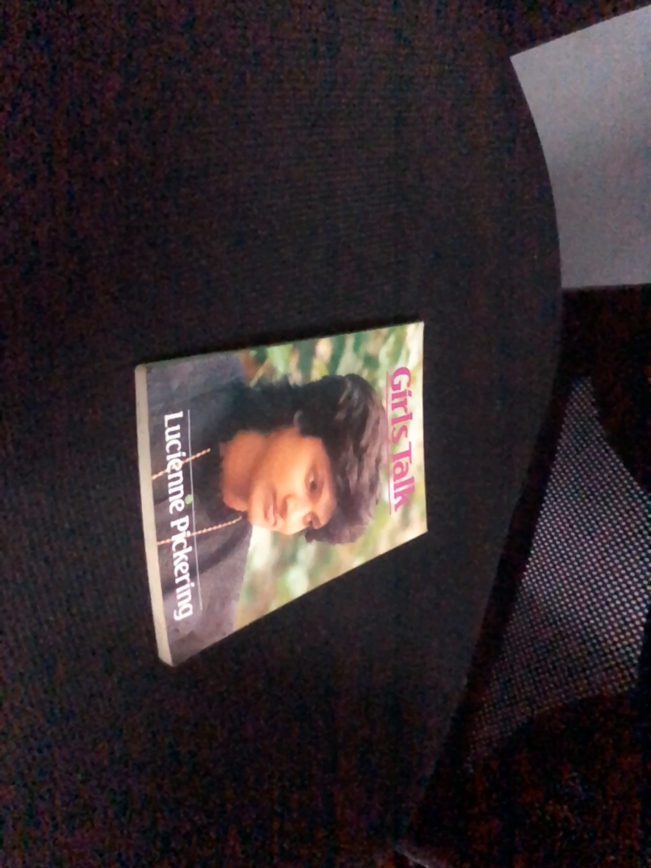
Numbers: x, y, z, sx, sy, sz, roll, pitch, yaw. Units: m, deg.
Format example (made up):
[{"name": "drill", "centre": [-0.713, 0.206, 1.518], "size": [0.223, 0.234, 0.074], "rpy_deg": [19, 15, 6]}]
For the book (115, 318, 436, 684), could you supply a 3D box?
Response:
[{"name": "book", "centre": [-0.005, 0.017, 0.350], "size": [0.201, 0.010, 0.130], "rpy_deg": [-16, 109, -47]}]
